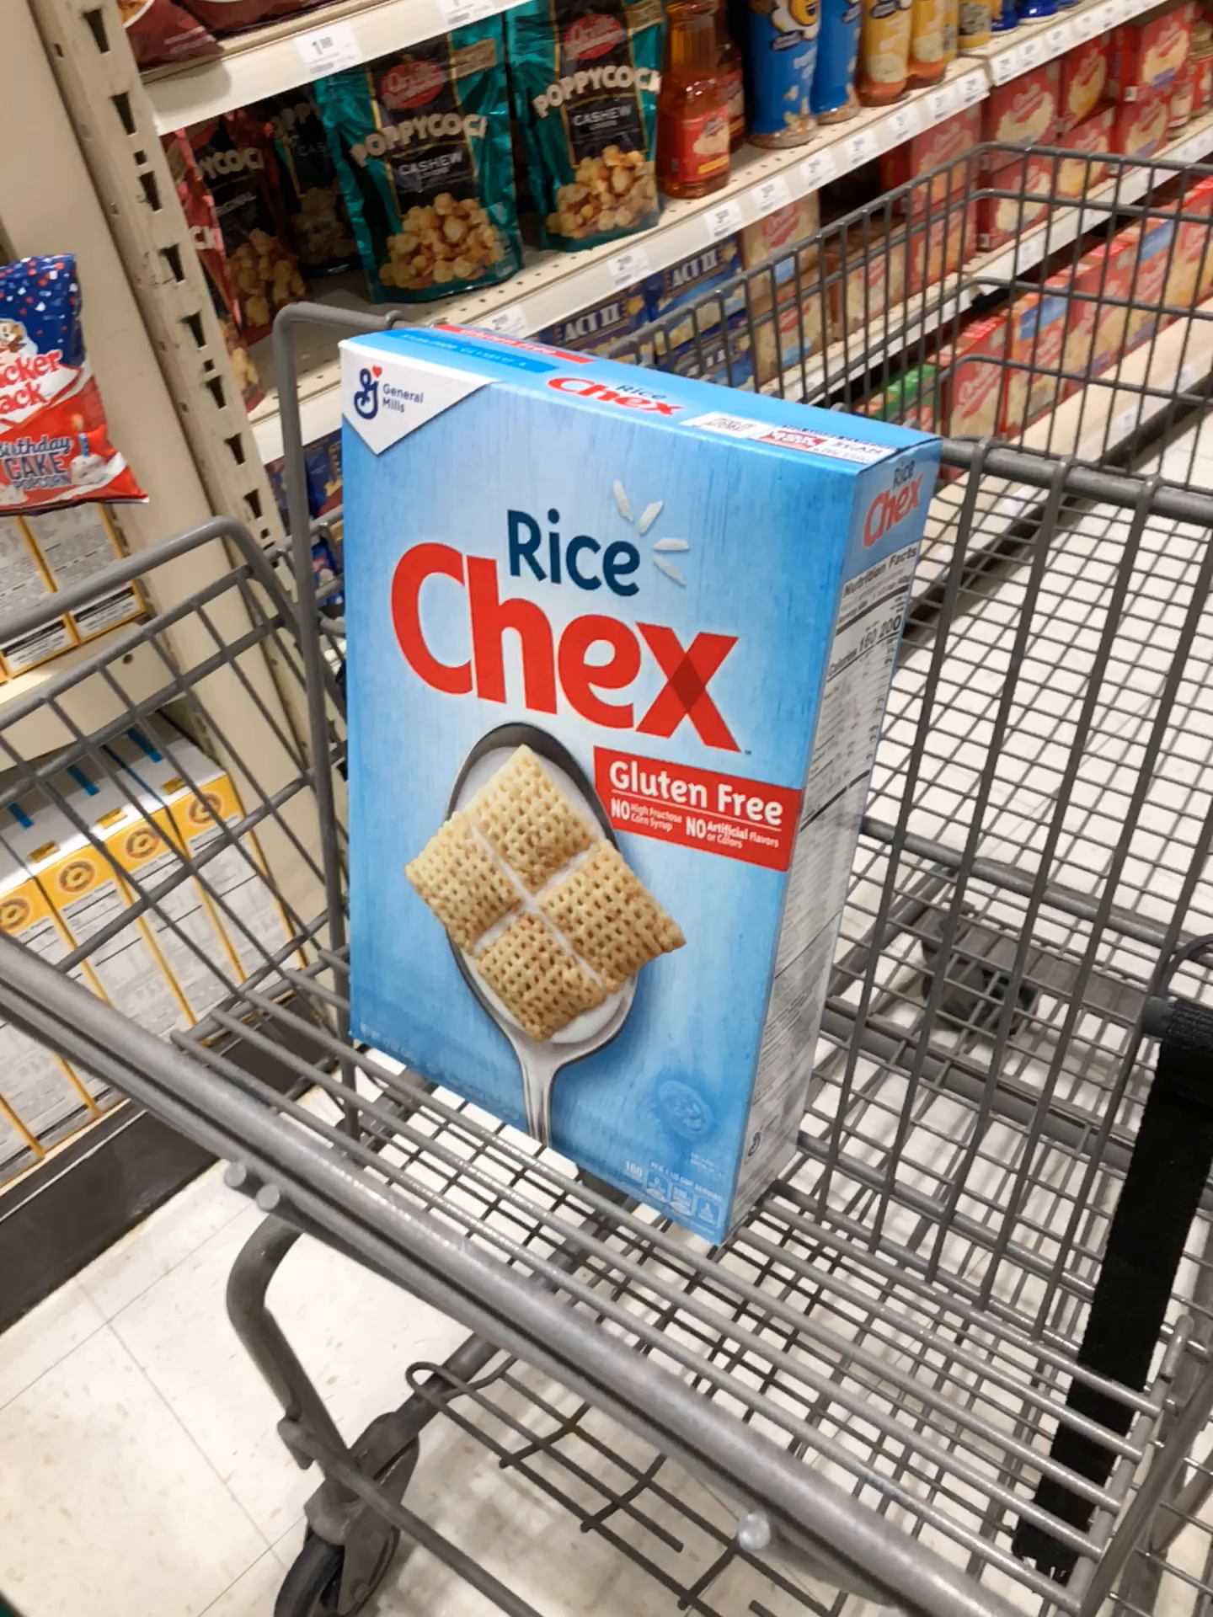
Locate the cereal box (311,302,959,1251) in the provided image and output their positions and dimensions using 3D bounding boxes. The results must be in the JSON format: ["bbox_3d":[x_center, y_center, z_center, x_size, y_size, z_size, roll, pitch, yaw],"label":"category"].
[{"bbox_3d":[-0.009,-0.011,0.480,0.200,0.290,0.060,22,33,28],"label":"cereal box"}]
